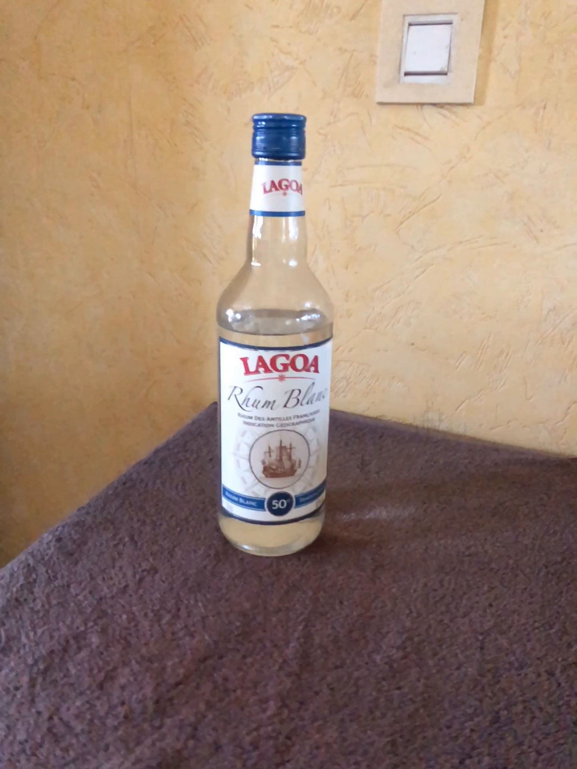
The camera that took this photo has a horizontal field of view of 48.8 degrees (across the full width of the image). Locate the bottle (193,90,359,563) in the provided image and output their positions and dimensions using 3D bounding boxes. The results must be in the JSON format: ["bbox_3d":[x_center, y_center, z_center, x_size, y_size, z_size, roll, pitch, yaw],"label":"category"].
[{"bbox_3d":[-0.013,-0.031,0.395,0.080,0.269,0.080,1,20,0],"label":"bottle"}]
